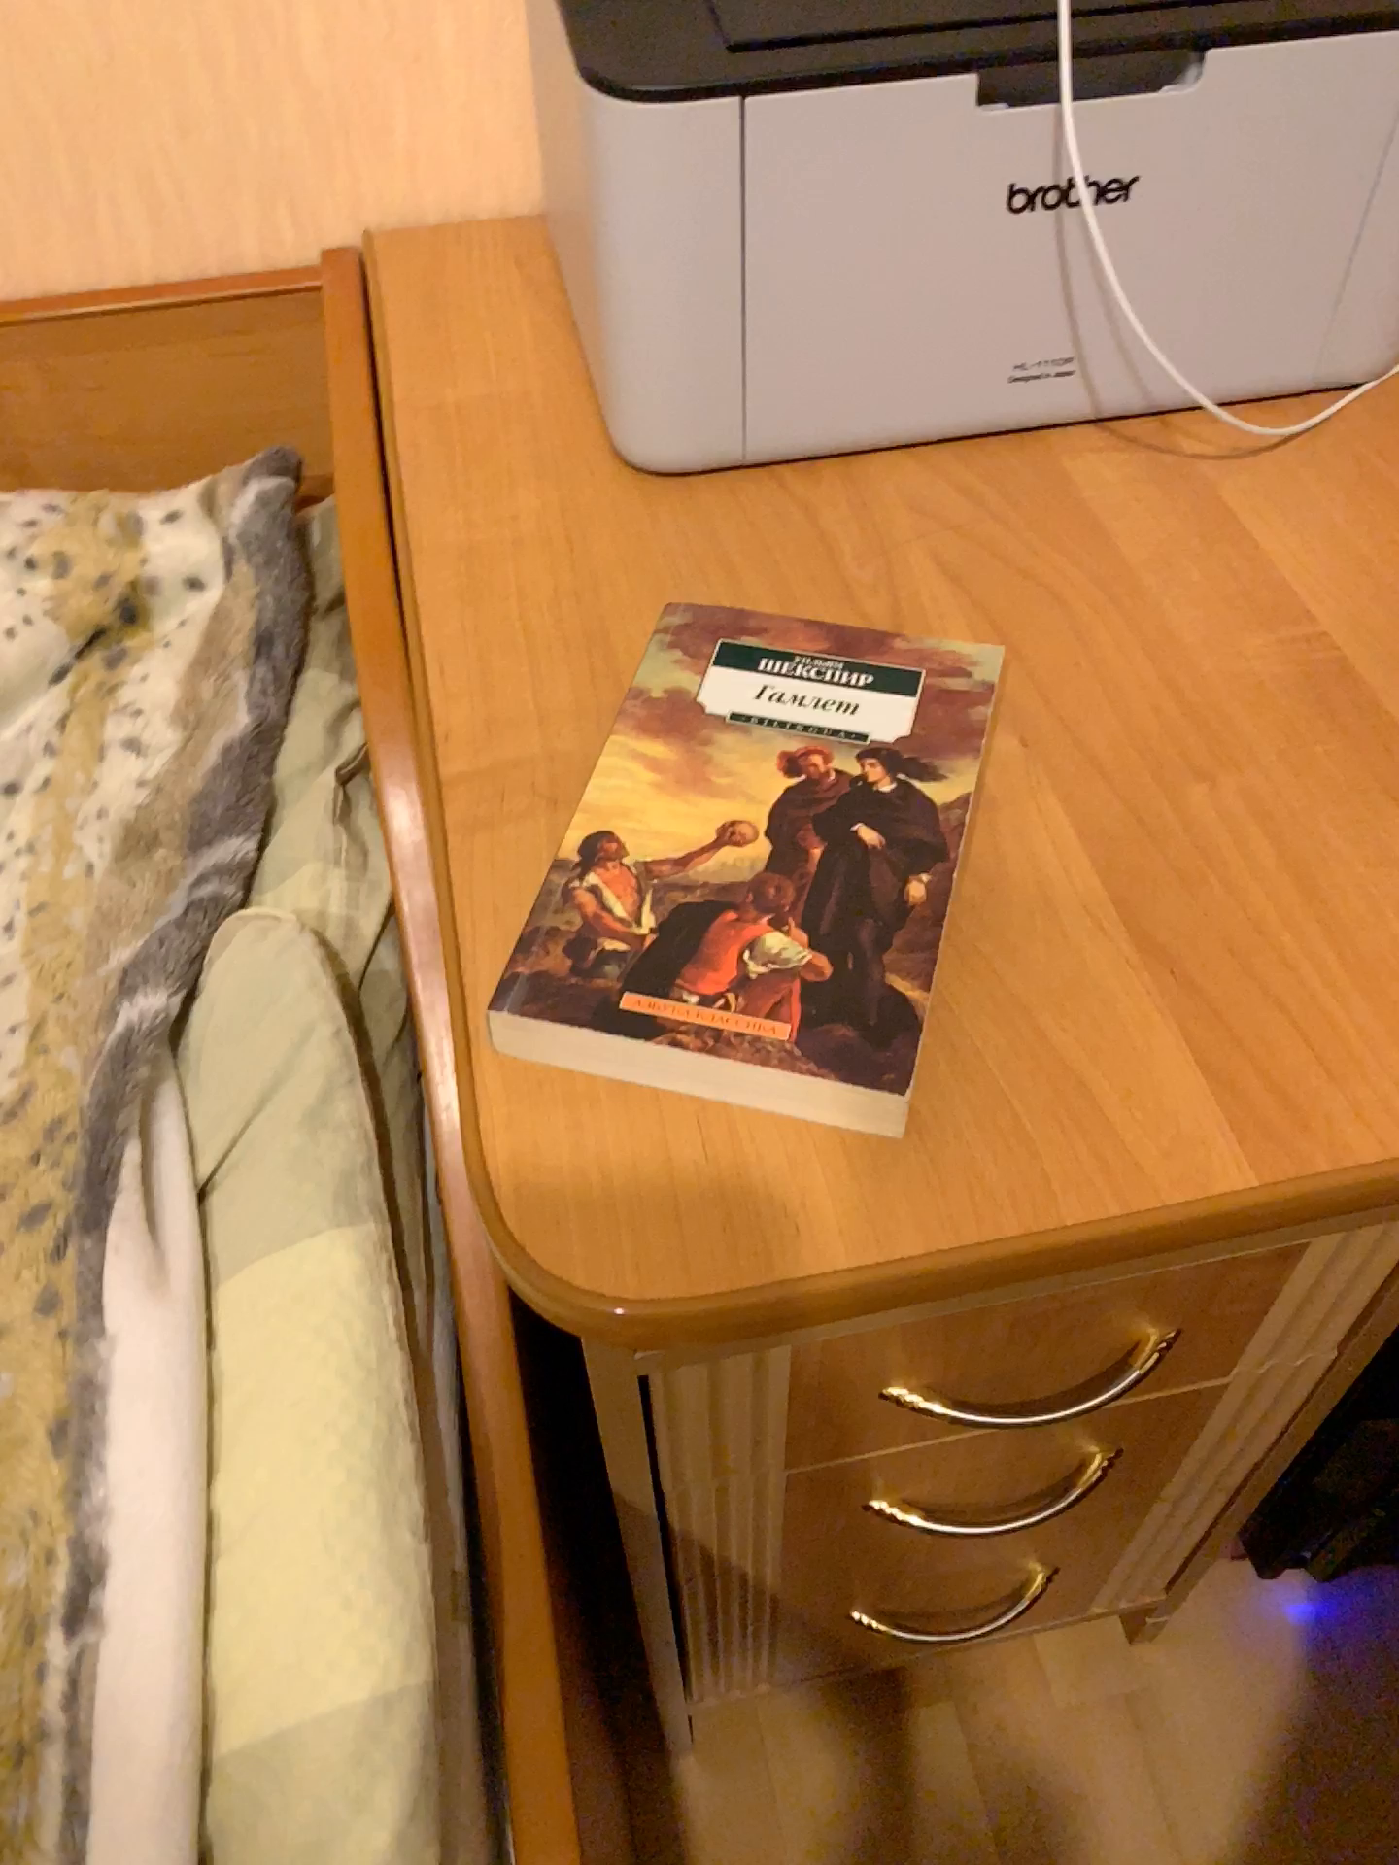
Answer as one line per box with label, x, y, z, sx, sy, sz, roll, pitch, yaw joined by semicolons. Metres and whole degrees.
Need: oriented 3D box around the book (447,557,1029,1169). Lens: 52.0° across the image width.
book;0.021;-0.033;0.420;0.120;0.030;0.191;12;51;11
